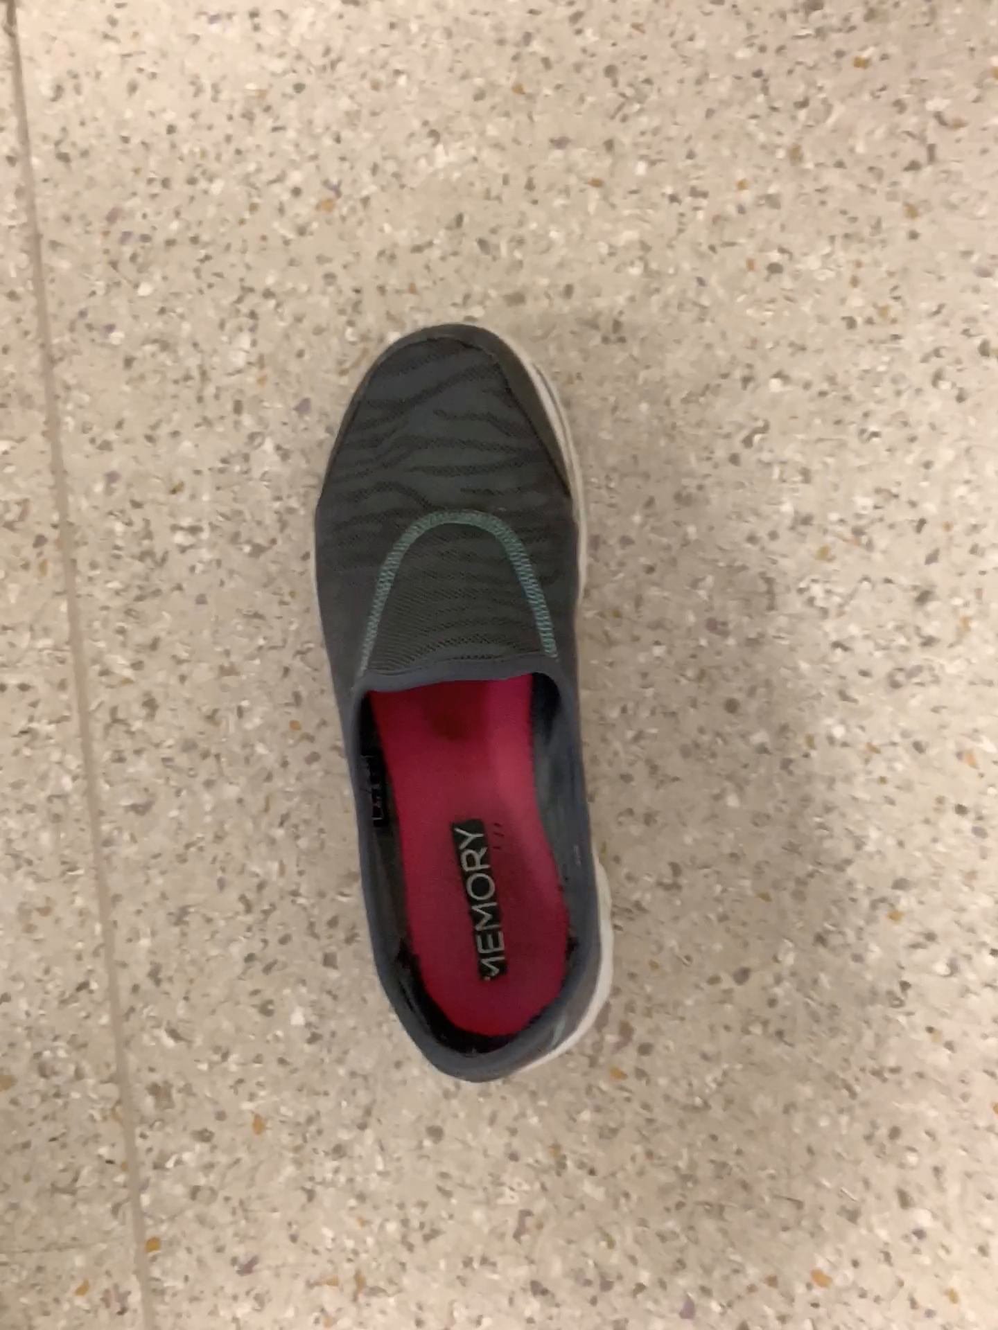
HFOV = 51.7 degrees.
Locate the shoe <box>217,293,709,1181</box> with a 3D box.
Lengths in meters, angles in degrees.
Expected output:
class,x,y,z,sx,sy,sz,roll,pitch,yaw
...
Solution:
class,x,y,z,sx,sy,sz,roll,pitch,yaw
shoe,-0.009,0.021,0.331,0.102,0.075,0.239,-10,87,6
